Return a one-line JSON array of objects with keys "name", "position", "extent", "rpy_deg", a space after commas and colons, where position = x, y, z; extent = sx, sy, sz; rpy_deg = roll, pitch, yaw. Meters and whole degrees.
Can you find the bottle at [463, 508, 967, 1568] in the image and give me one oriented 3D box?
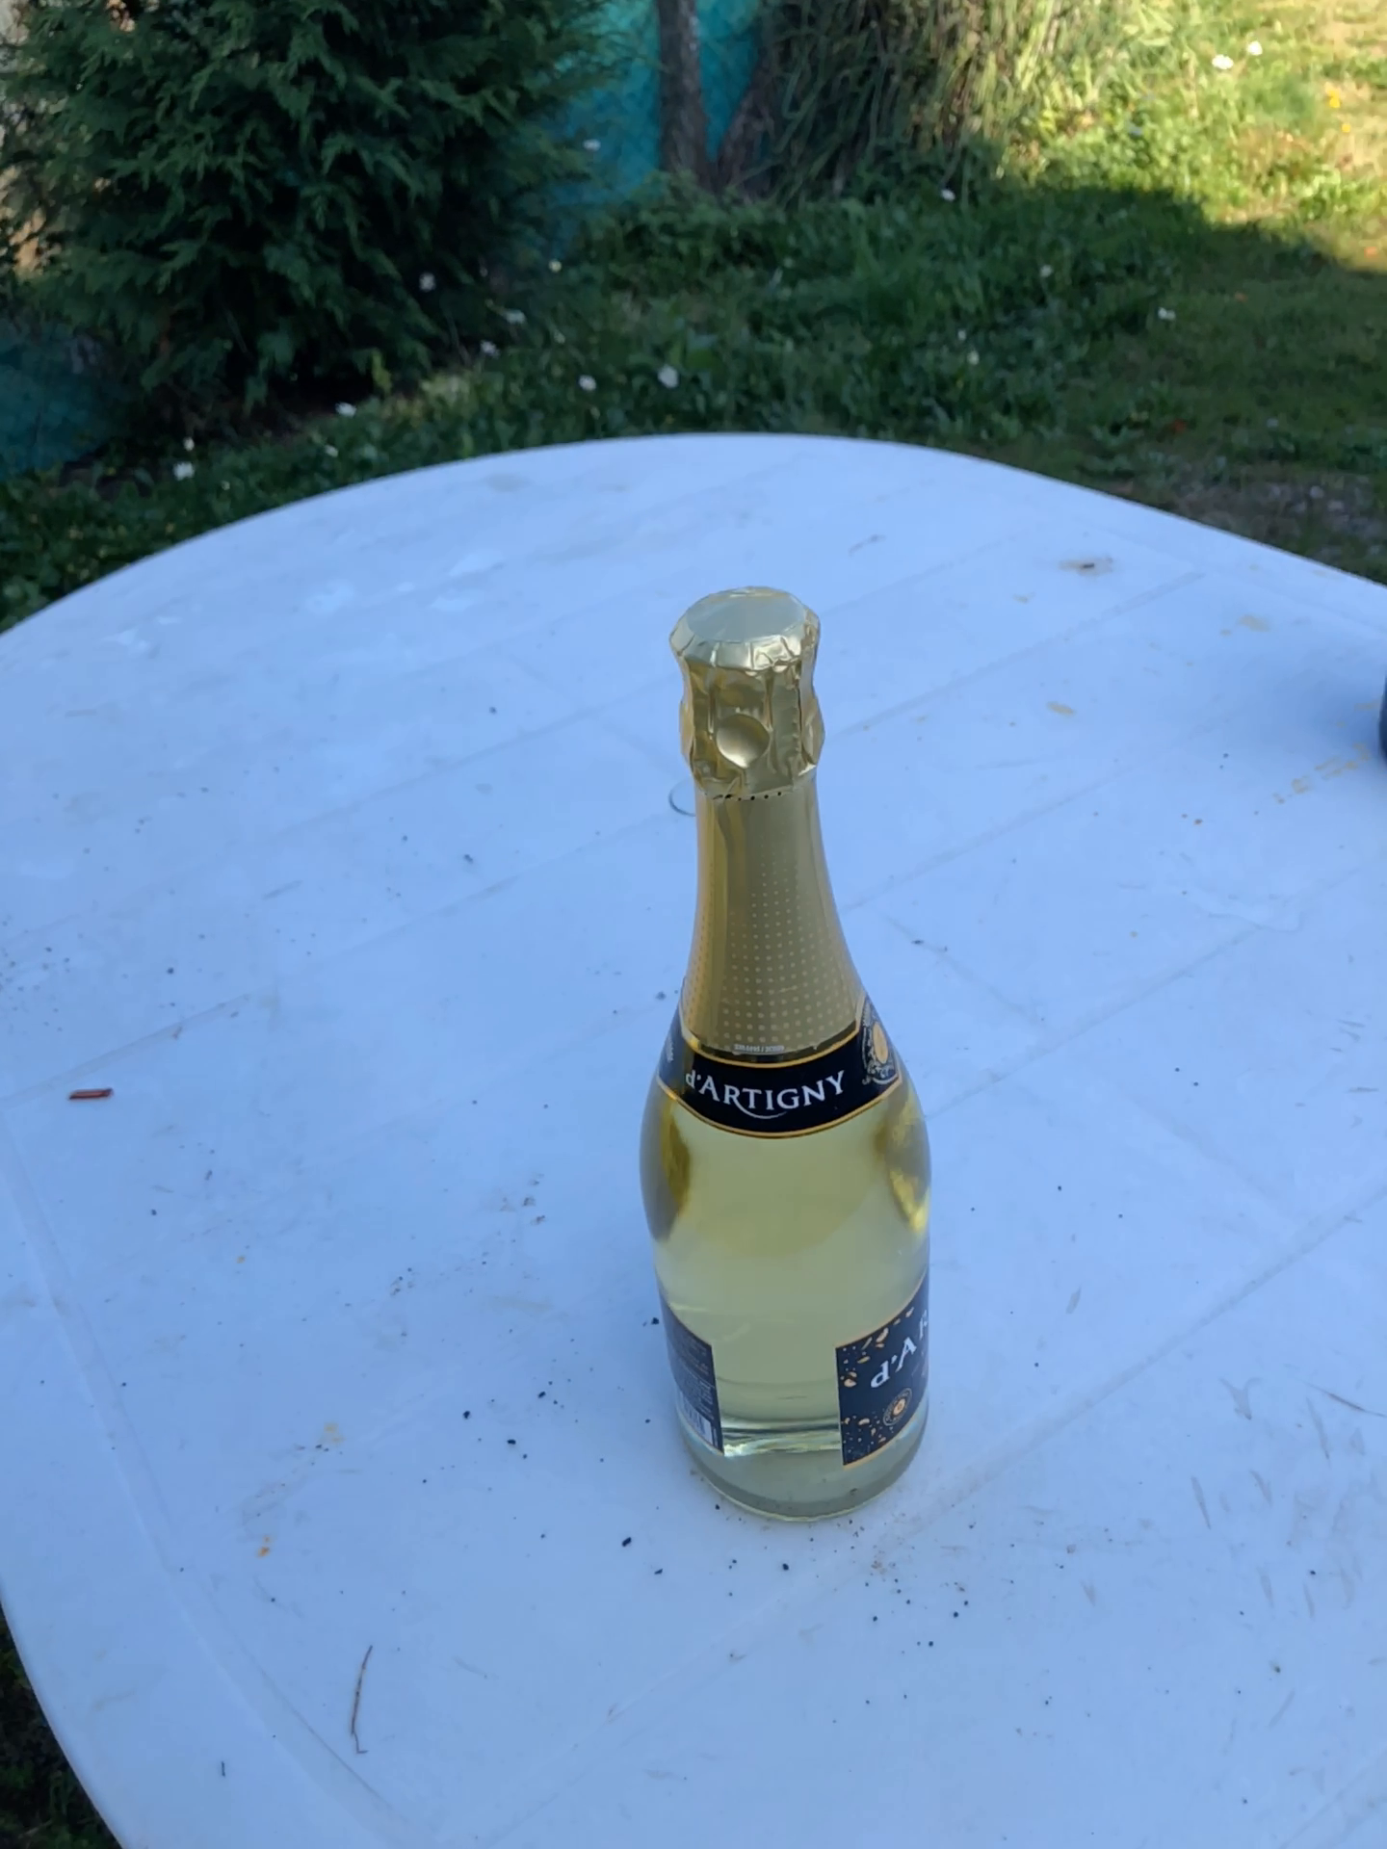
[{"name": "bottle", "position": [0.021, 0.047, 0.420], "extent": [0.090, 0.298, 0.091], "rpy_deg": [-4, 38, 3]}]
